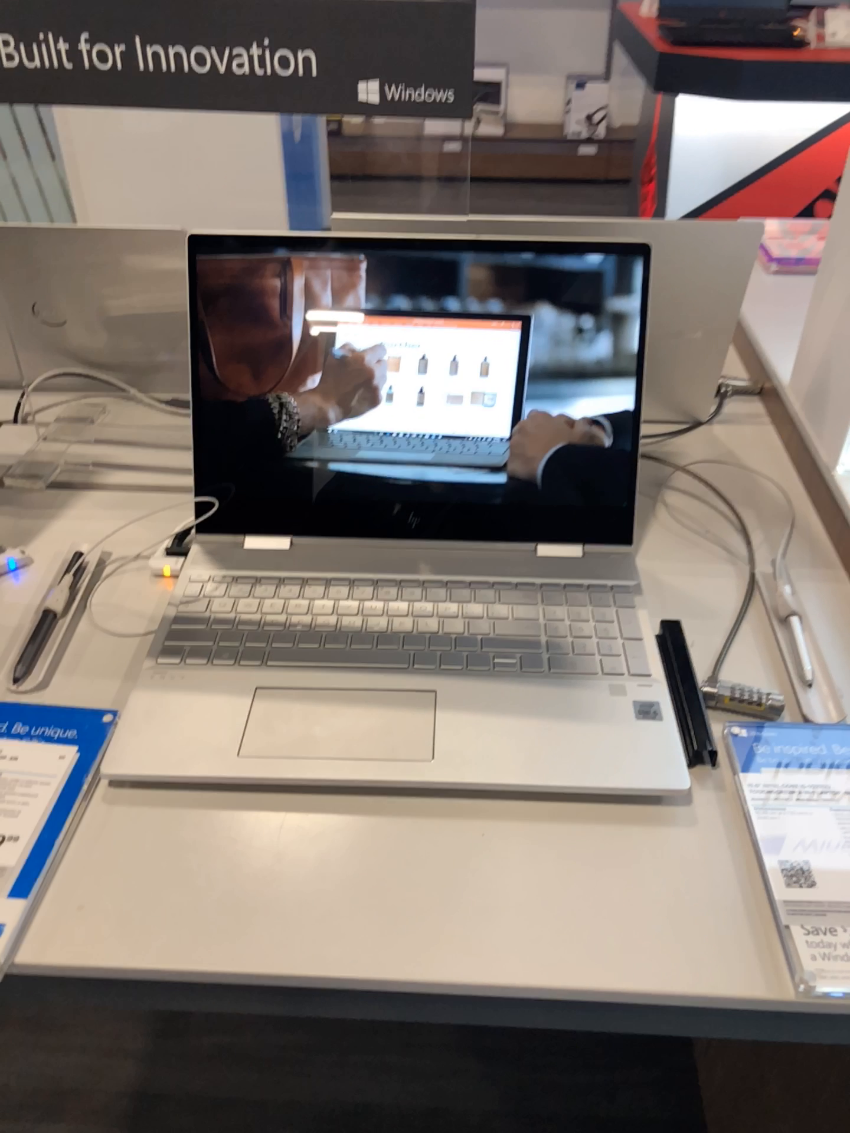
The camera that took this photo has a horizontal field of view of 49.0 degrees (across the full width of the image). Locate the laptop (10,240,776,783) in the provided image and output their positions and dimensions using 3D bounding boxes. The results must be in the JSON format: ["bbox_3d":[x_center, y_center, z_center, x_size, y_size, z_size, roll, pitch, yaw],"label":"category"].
[{"bbox_3d":[-0.009,-0.063,0.641,0.358,0.210,0.355,1,36,2],"label":"laptop"}]
